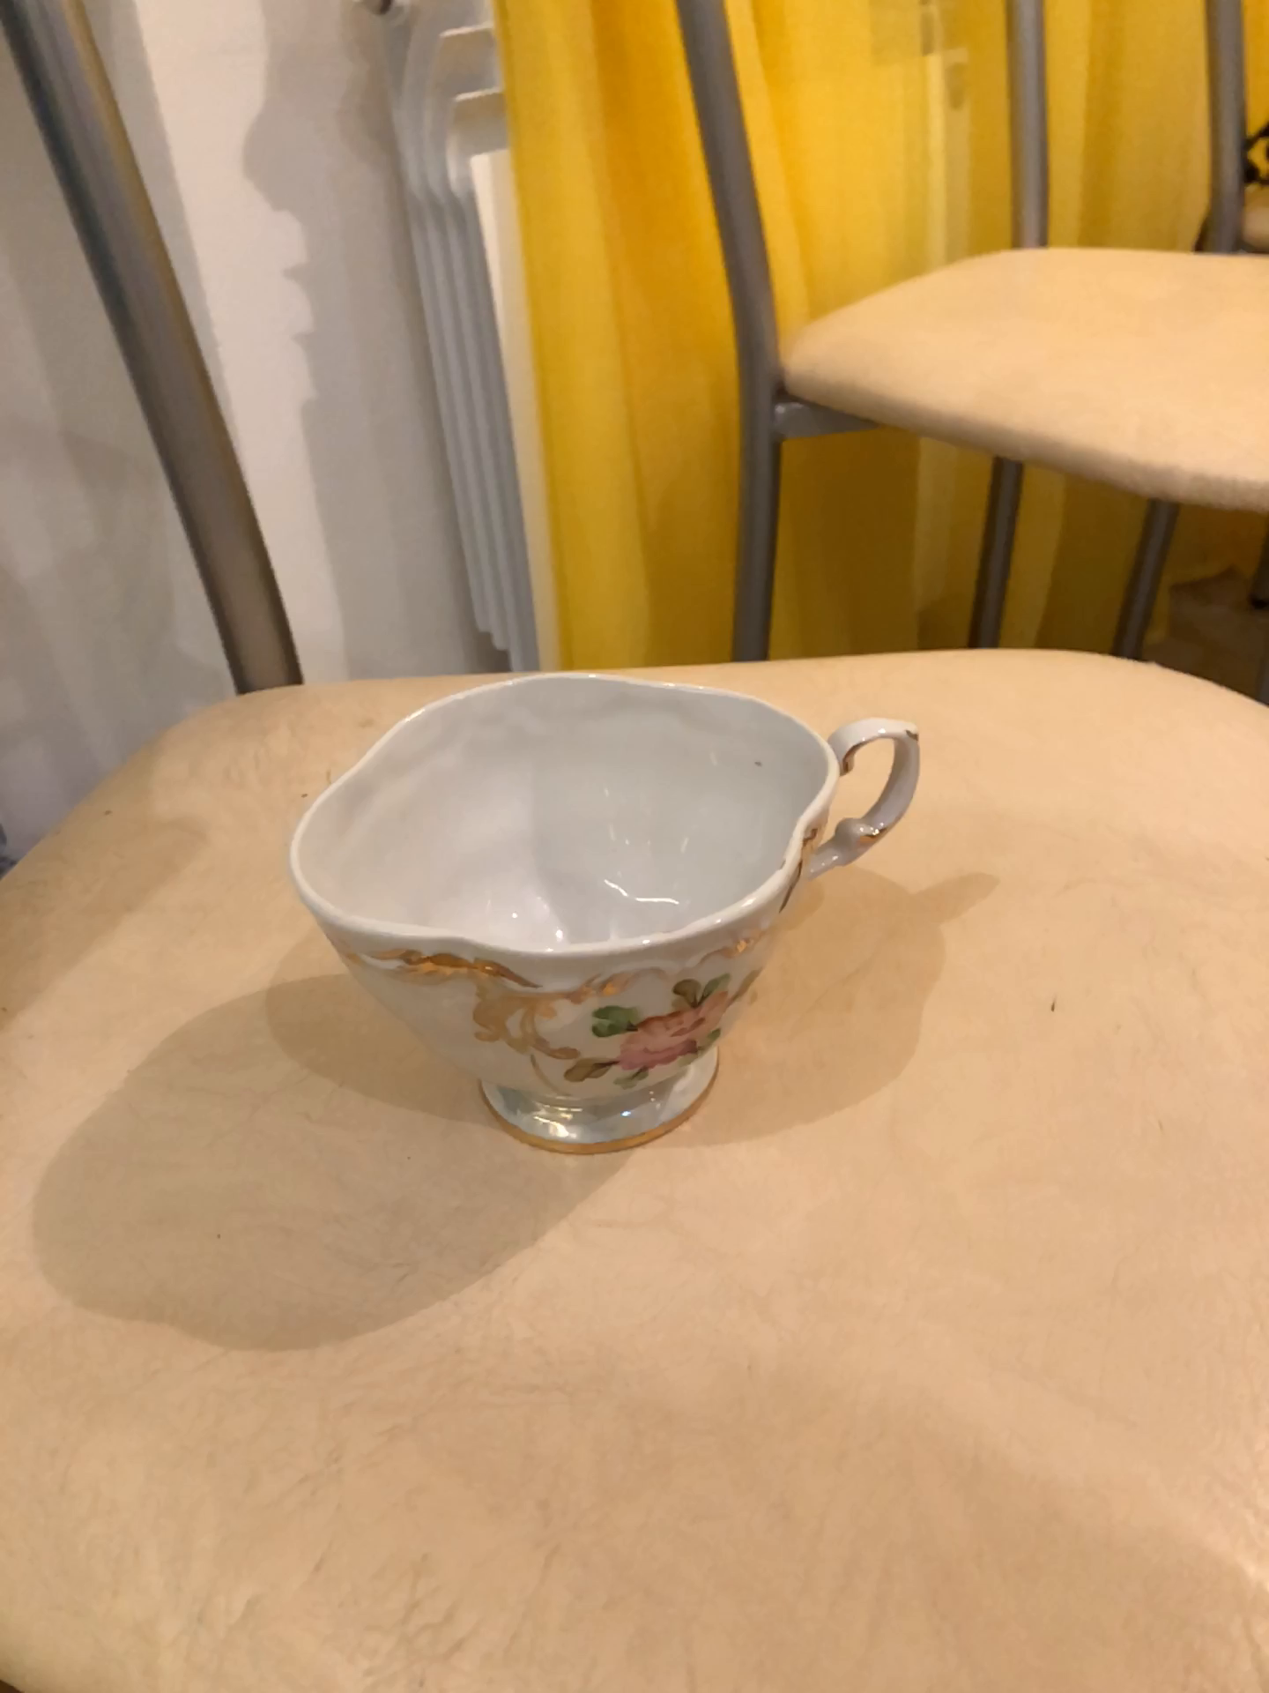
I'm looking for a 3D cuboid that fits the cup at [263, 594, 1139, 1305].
[{"bbox_3d":[0.008,0.011,0.286,0.139,0.064,0.101,-15,35,-15],"label":"cup"}]
